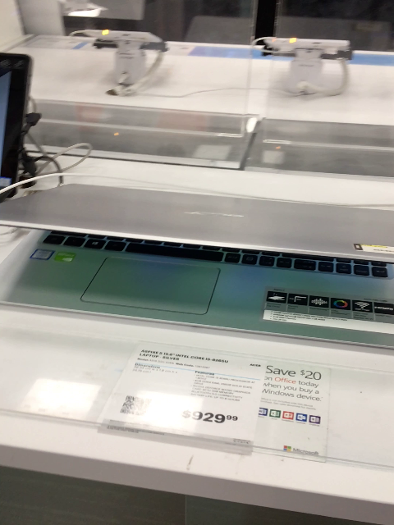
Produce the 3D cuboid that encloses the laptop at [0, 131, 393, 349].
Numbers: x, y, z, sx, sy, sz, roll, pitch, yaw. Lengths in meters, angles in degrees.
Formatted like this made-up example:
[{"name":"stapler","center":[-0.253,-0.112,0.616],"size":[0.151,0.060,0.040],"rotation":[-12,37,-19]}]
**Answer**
[{"name":"laptop","center":[0.008,-0.042,0.505],"size":[0.400,0.083,0.214],"rotation":[6,38,12]}]
